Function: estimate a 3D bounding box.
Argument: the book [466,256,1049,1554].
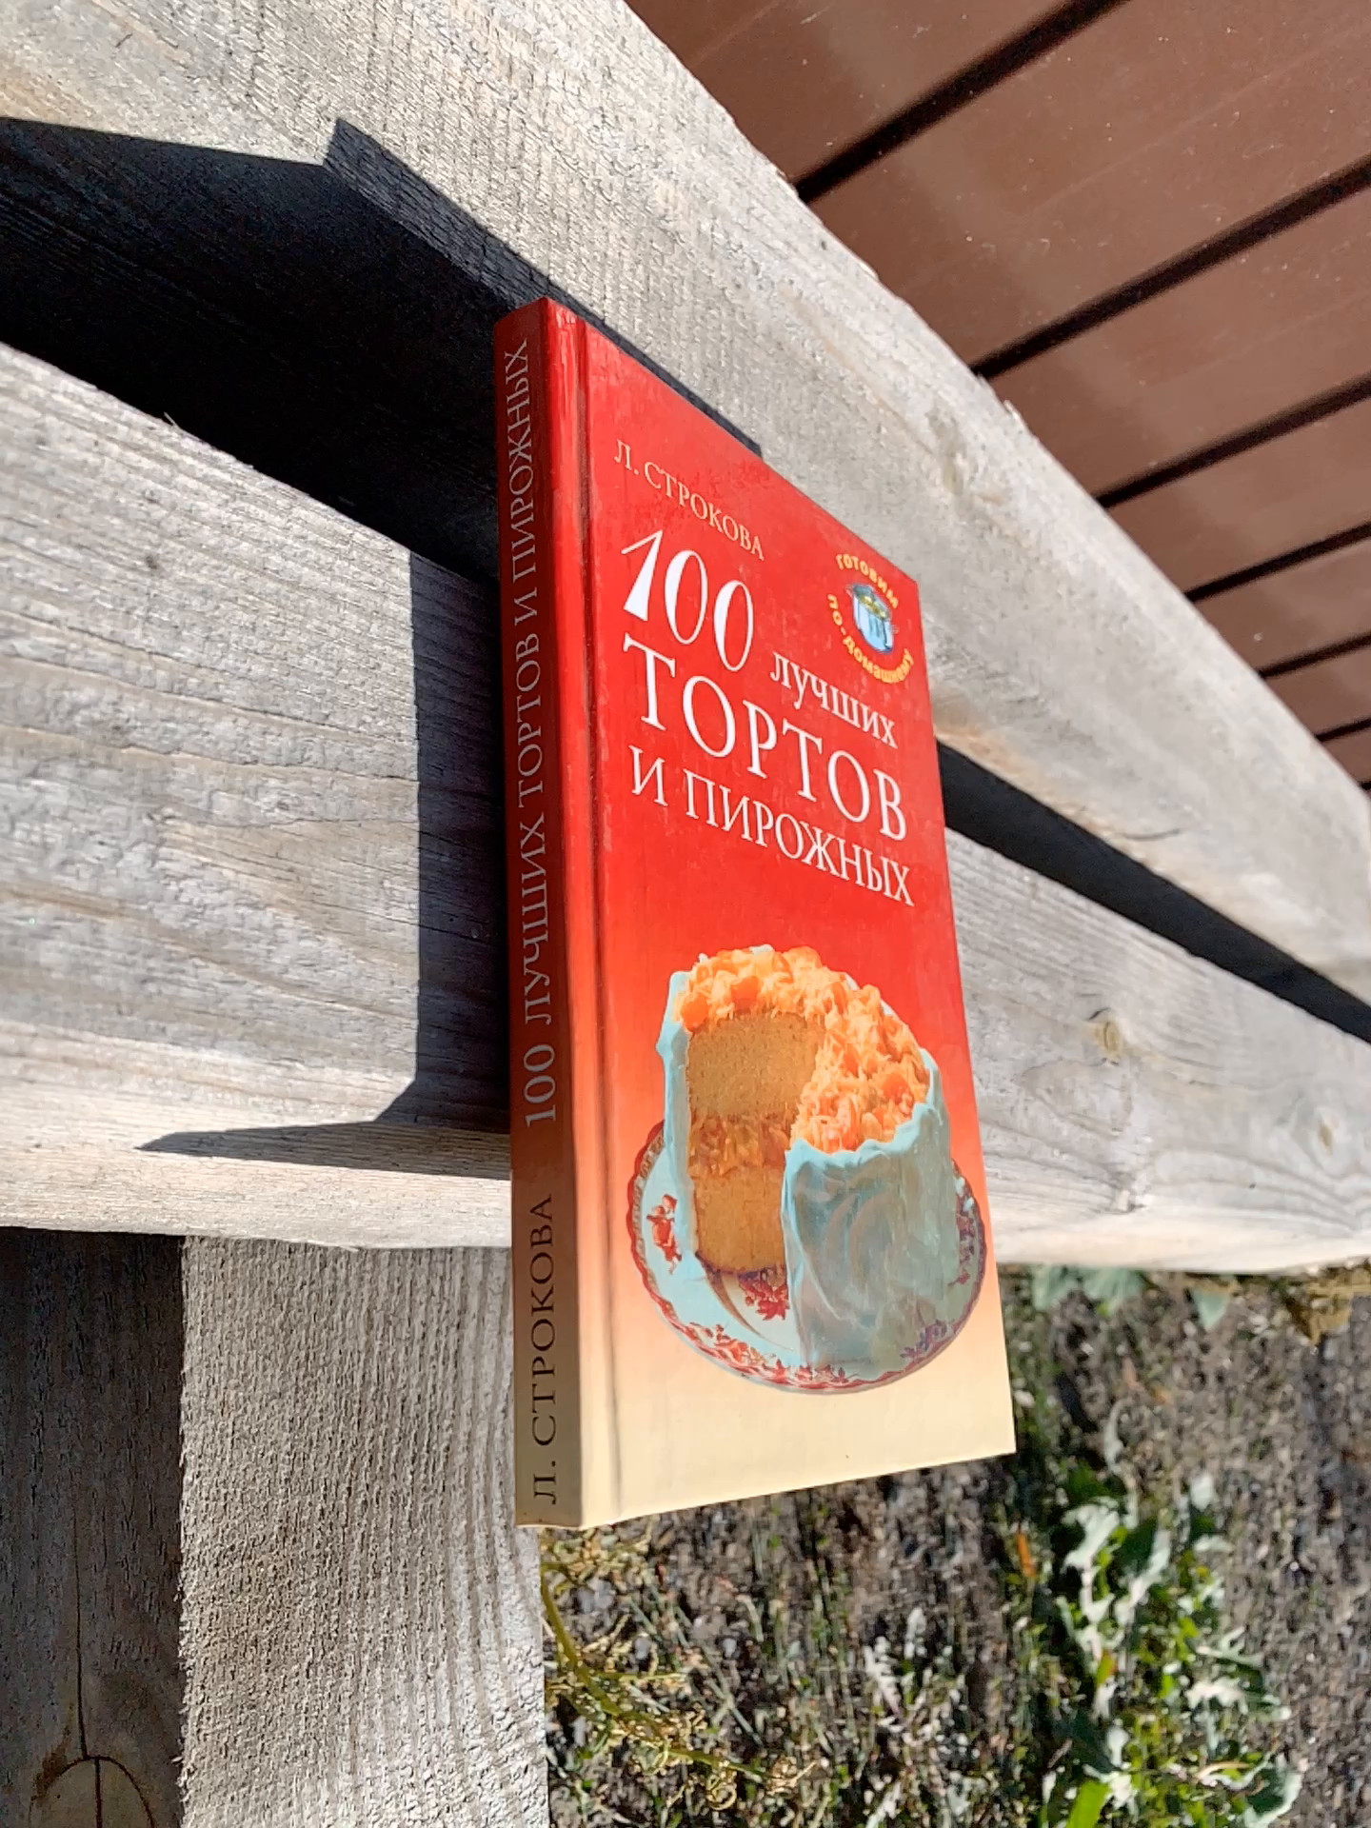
[{"bbox_3d":[0.017,-0.001,0.284,0.143,0.017,0.218,19,61,-49],"label":"book"}]
